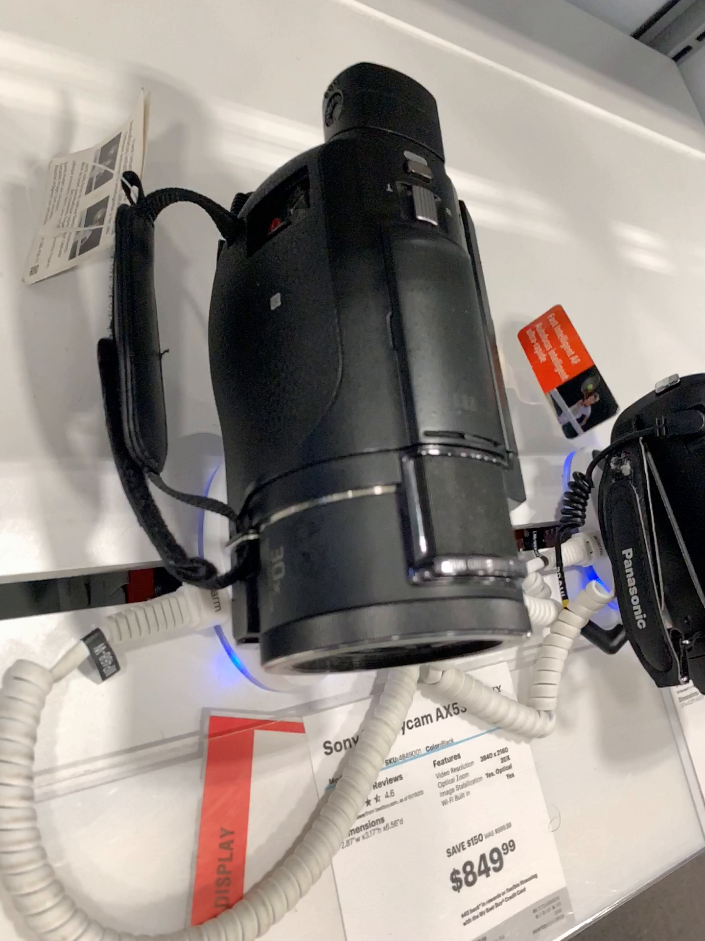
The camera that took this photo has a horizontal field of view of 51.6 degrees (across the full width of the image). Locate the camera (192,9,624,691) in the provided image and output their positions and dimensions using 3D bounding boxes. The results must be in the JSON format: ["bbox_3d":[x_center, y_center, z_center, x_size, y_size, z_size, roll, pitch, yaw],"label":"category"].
[{"bbox_3d":[0.005,-0.024,0.197,0.070,0.071,0.151,8,66,-34],"label":"camera"}]
